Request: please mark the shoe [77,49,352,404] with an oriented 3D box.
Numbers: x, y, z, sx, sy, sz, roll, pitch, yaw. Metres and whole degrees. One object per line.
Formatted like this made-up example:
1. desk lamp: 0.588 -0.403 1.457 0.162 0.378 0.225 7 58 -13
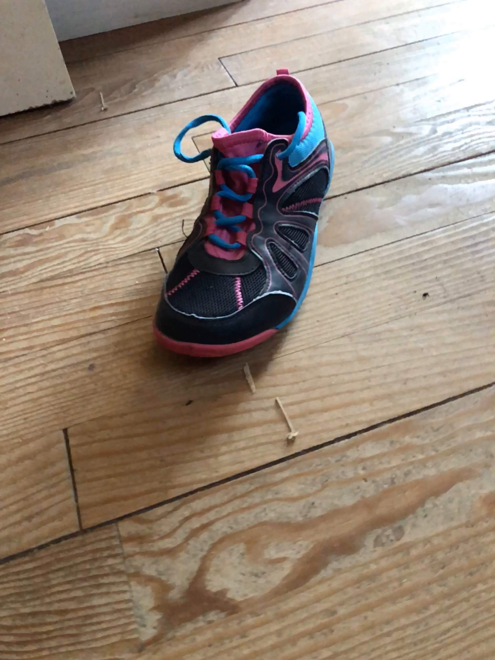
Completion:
1. shoe: -0.004 -0.092 0.407 0.110 0.100 0.261 11 54 12
